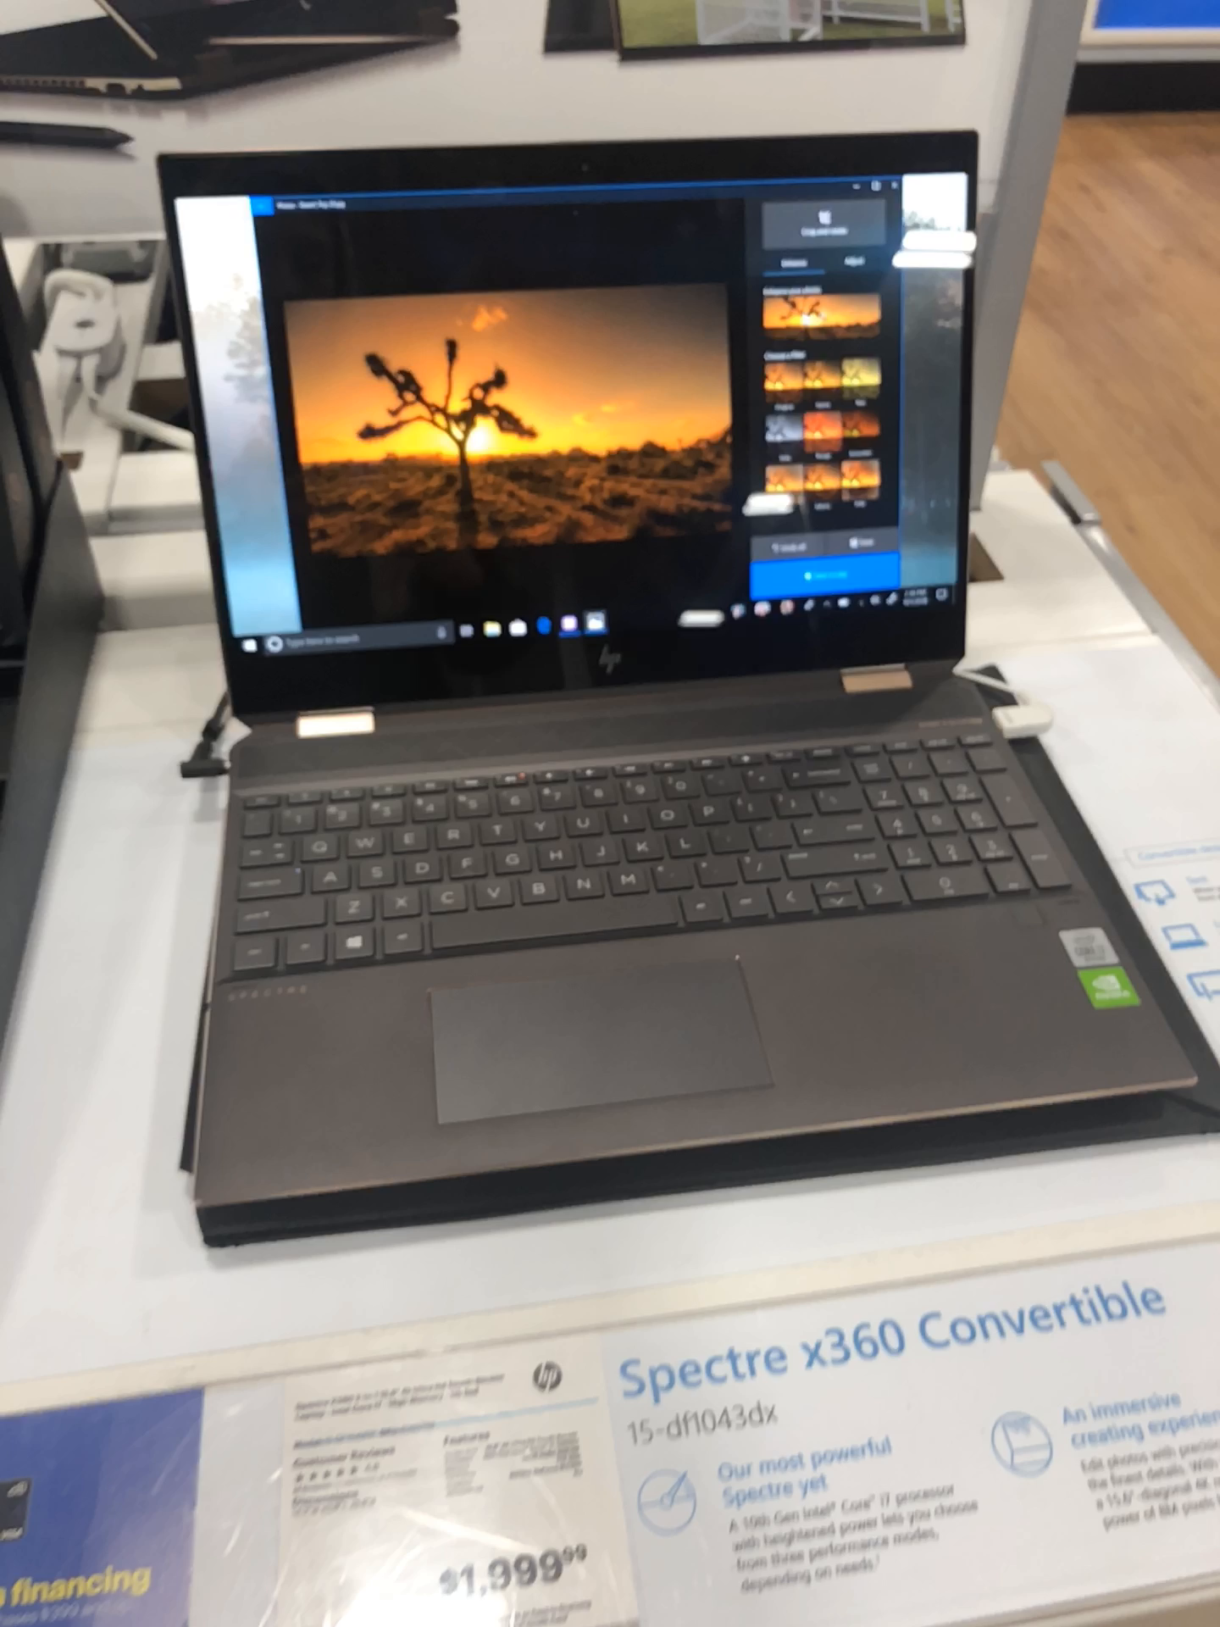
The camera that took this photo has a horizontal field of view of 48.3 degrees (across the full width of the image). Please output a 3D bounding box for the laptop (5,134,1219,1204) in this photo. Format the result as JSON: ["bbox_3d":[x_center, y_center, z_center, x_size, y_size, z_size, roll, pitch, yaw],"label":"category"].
[{"bbox_3d":[0.006,-0.088,0.529,0.348,0.208,0.361,-5,44,-8],"label":"laptop"}]
